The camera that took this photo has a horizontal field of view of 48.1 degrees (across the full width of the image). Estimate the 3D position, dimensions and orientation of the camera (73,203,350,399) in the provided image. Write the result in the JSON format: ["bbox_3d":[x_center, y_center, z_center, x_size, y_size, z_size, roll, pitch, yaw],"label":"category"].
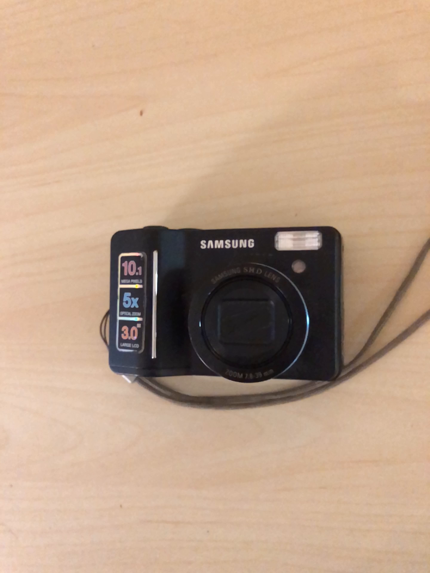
[{"bbox_3d":[-0.001,0.005,0.201,0.110,0.030,0.070,0,87,15],"label":"camera"}]
